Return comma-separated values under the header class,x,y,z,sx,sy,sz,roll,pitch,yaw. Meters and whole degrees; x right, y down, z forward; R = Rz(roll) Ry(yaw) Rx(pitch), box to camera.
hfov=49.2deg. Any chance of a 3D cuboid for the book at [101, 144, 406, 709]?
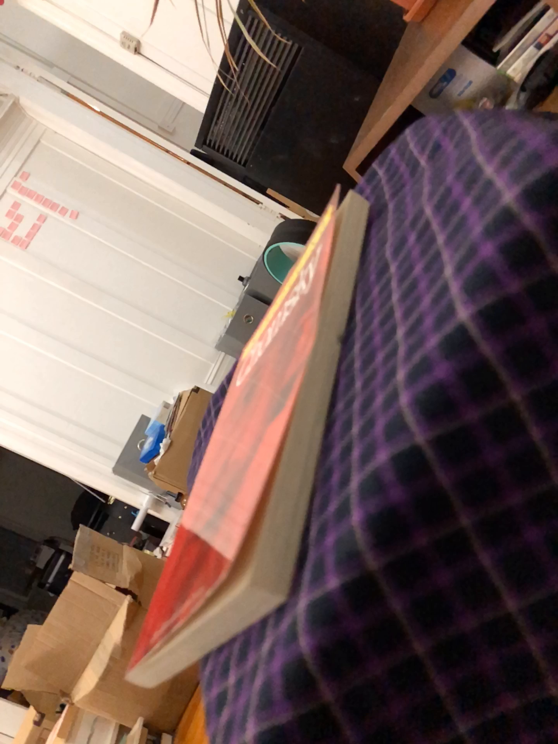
class,x,y,z,sx,sy,sz,roll,pitch,yaw
book,-0.008,0.020,0.301,0.180,0.020,0.241,-52,15,46
